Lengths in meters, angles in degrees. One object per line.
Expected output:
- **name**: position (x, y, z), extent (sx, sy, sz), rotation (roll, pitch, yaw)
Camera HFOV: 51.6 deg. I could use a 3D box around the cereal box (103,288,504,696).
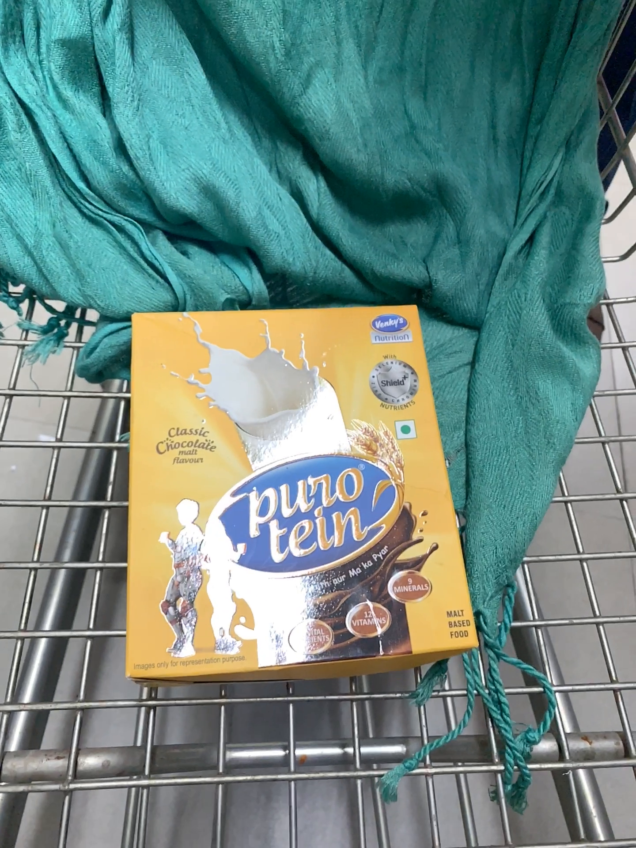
- **cereal box**: position (-0.011, 0.024, 0.281), extent (0.140, 0.050, 0.160), rotation (-1, 68, -7)
